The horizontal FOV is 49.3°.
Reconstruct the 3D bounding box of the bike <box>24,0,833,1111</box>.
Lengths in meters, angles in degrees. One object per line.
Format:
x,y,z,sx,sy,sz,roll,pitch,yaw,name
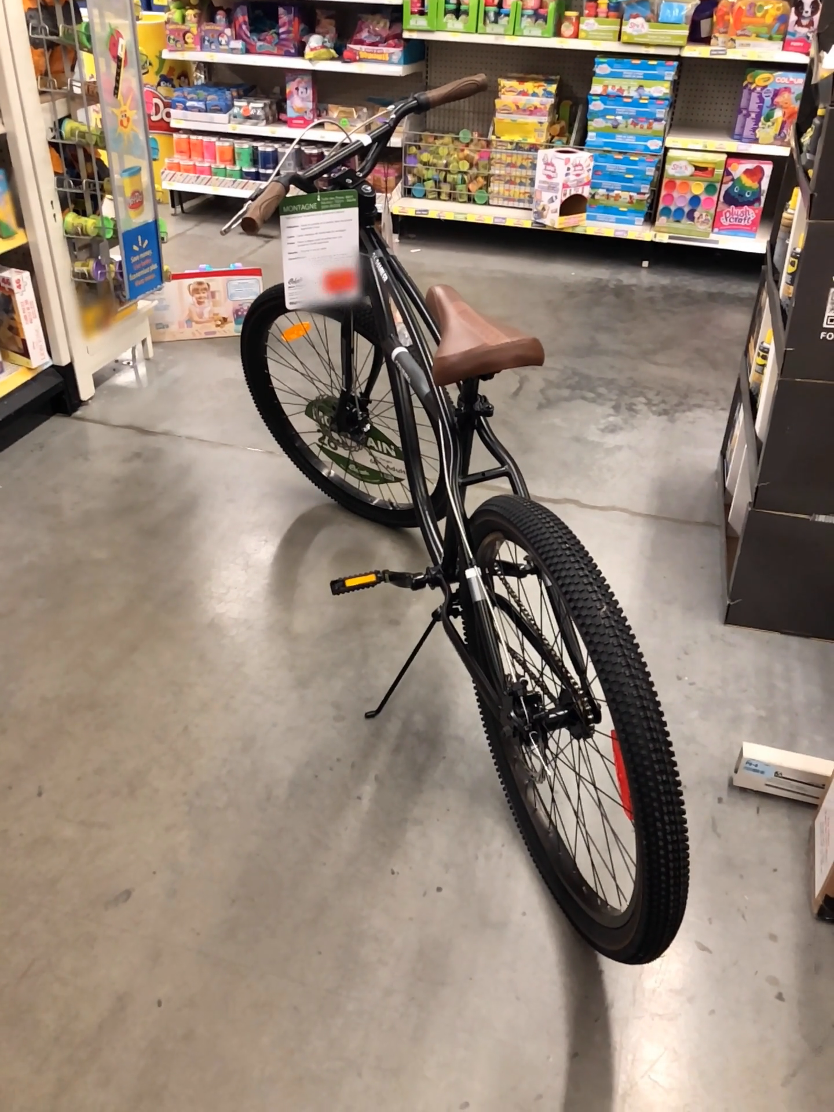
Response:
-0.083,-0.243,1.458,0.652,0.975,1.592,-13,41,-20,bike
